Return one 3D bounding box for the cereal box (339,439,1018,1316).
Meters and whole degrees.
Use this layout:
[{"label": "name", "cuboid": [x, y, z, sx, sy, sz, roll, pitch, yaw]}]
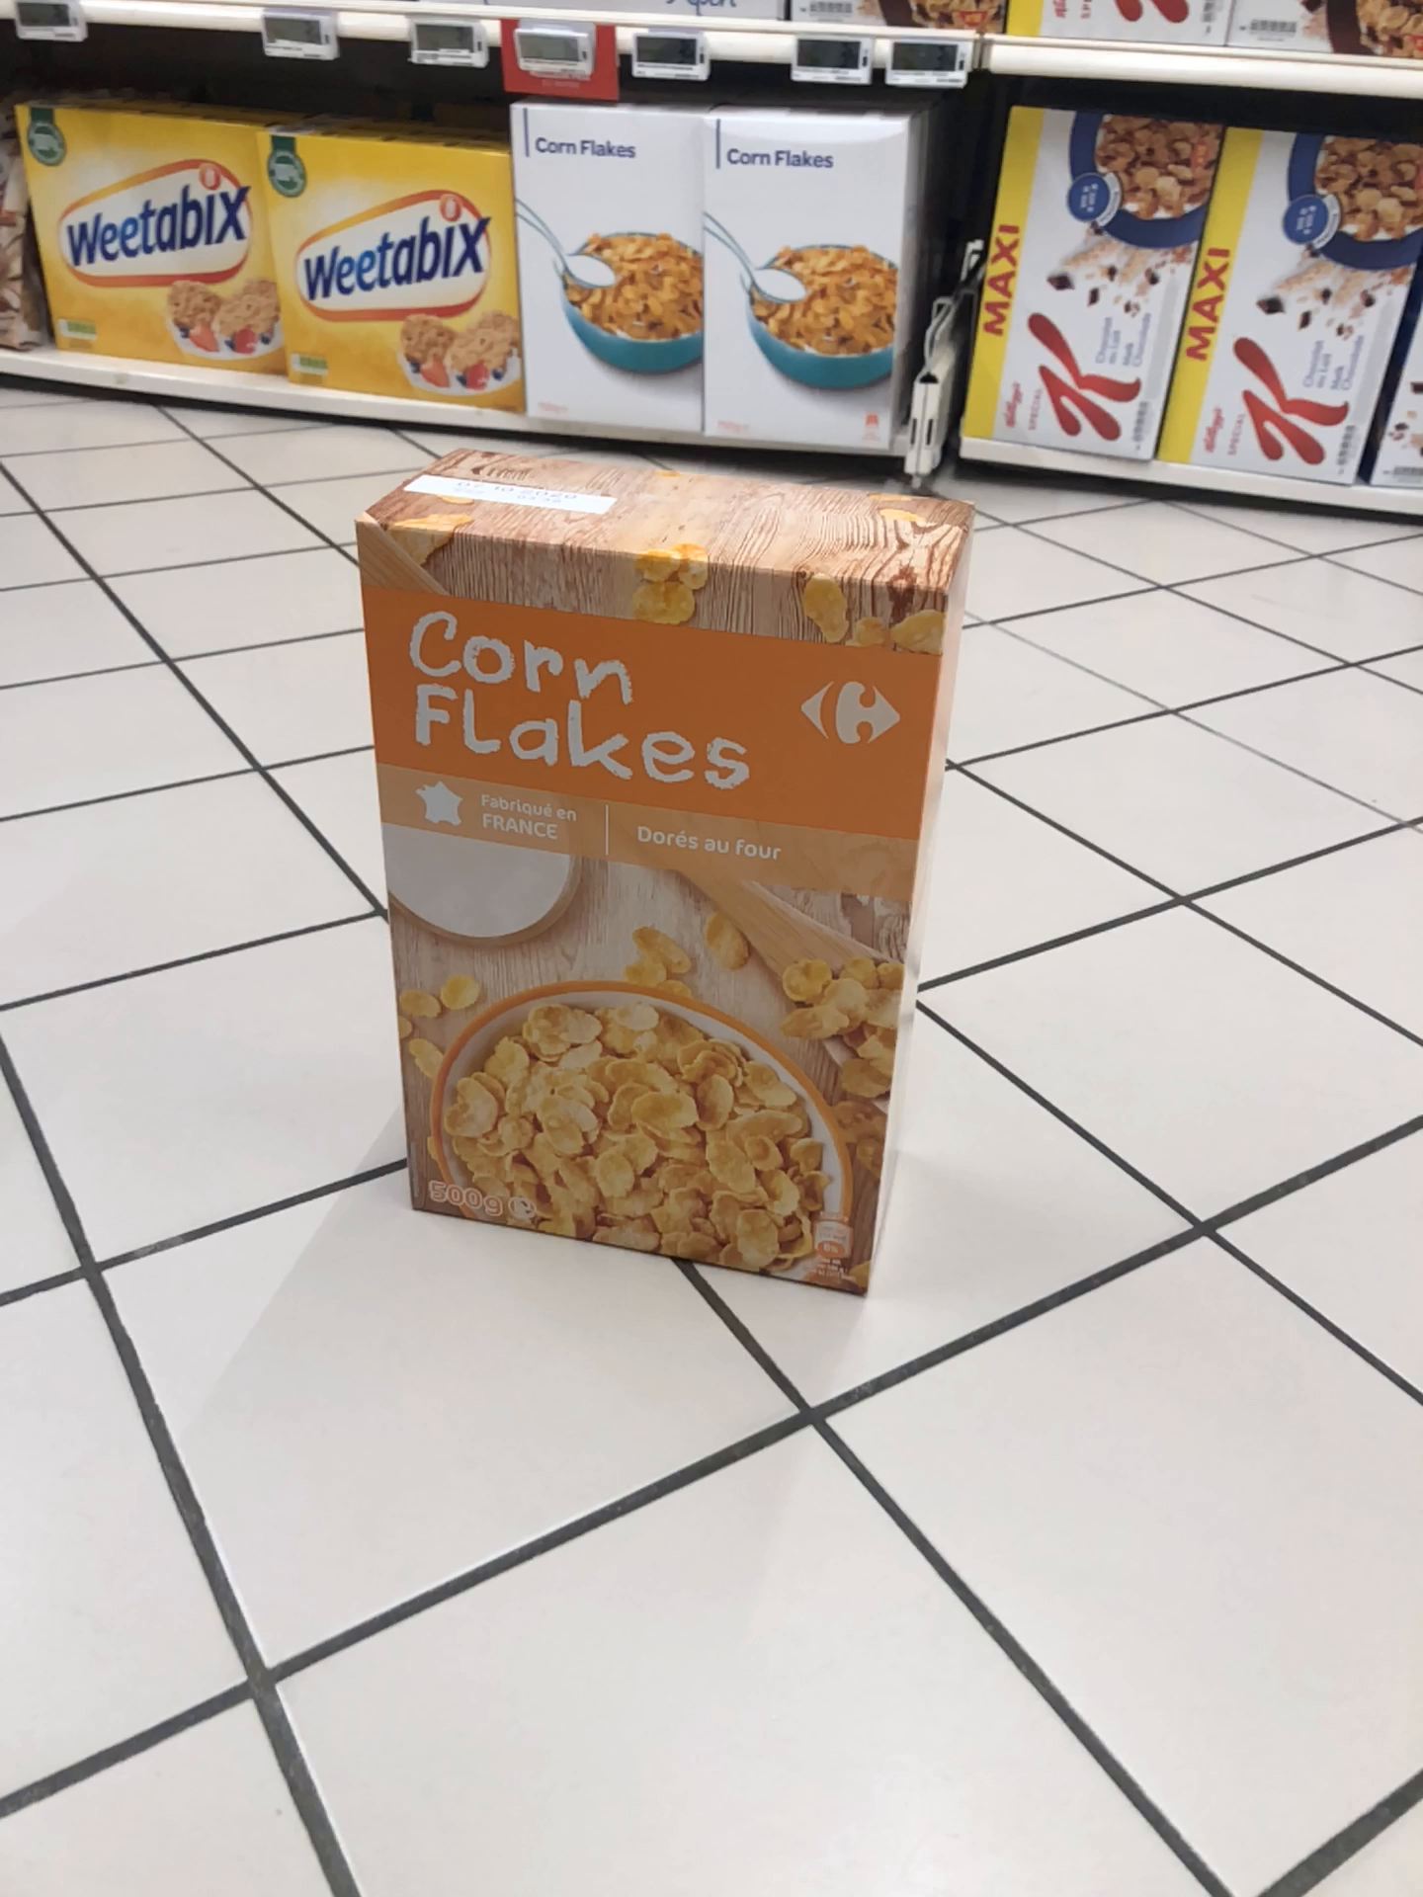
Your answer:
[{"label": "cereal box", "cuboid": [-0.010, -0.024, 0.579, 0.200, 0.278, 0.111, 9, 31, 10]}]
